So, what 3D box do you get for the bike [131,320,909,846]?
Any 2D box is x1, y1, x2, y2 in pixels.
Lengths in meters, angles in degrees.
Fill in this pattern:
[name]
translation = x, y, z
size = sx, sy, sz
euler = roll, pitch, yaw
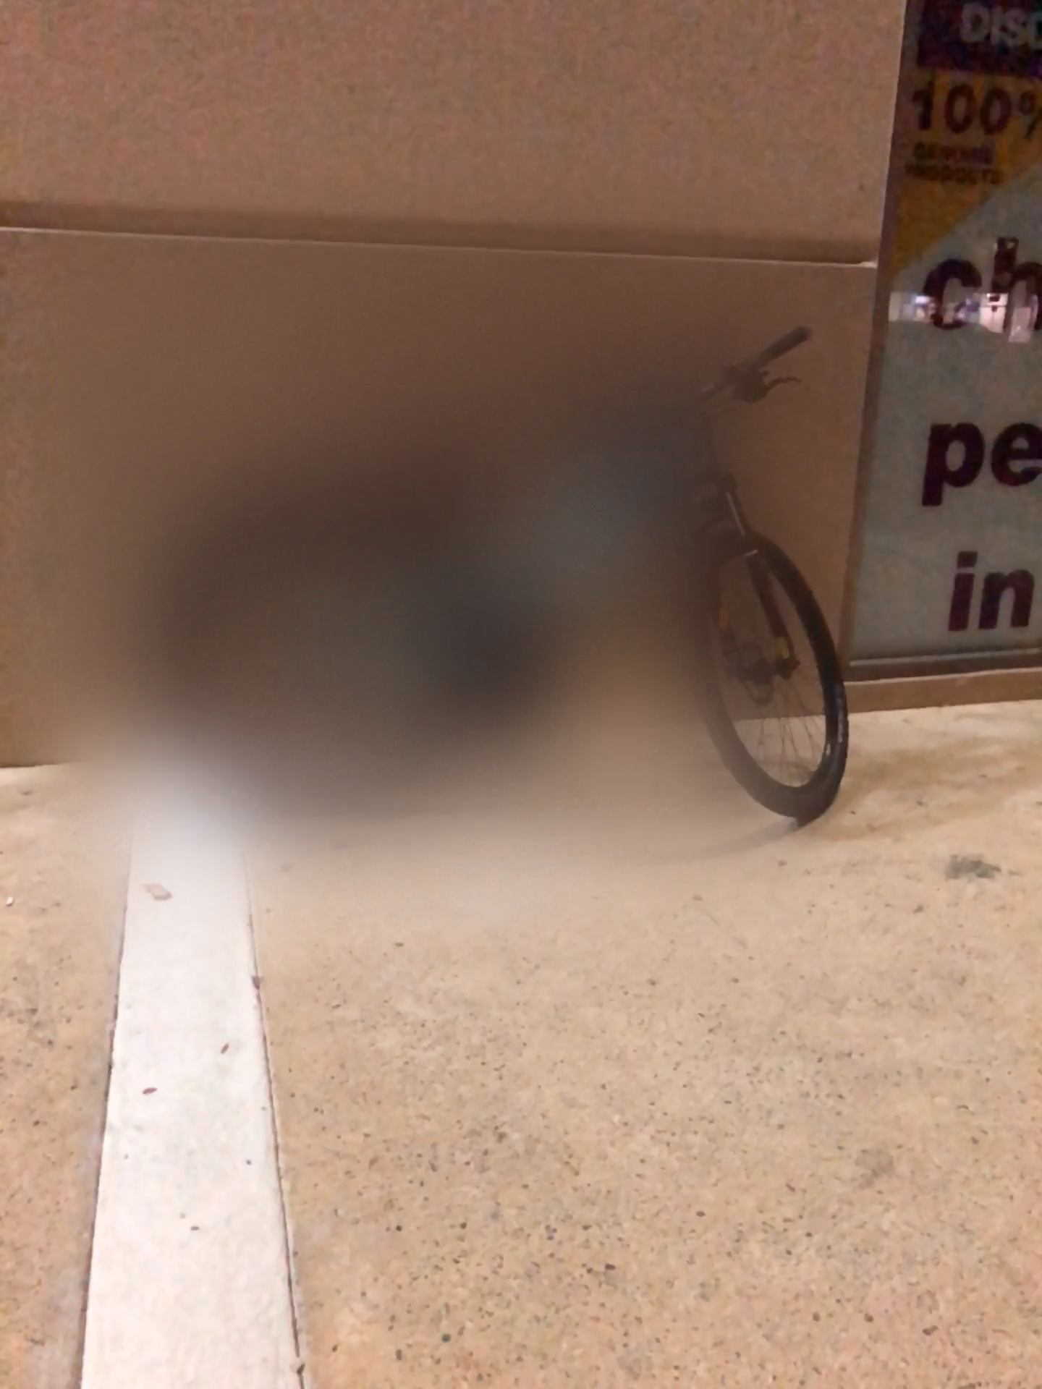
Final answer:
[bike]
translation = 0.016, -0.328, 2.734
size = 1.604, 1.063, 0.589
euler = -3, 18, -12
